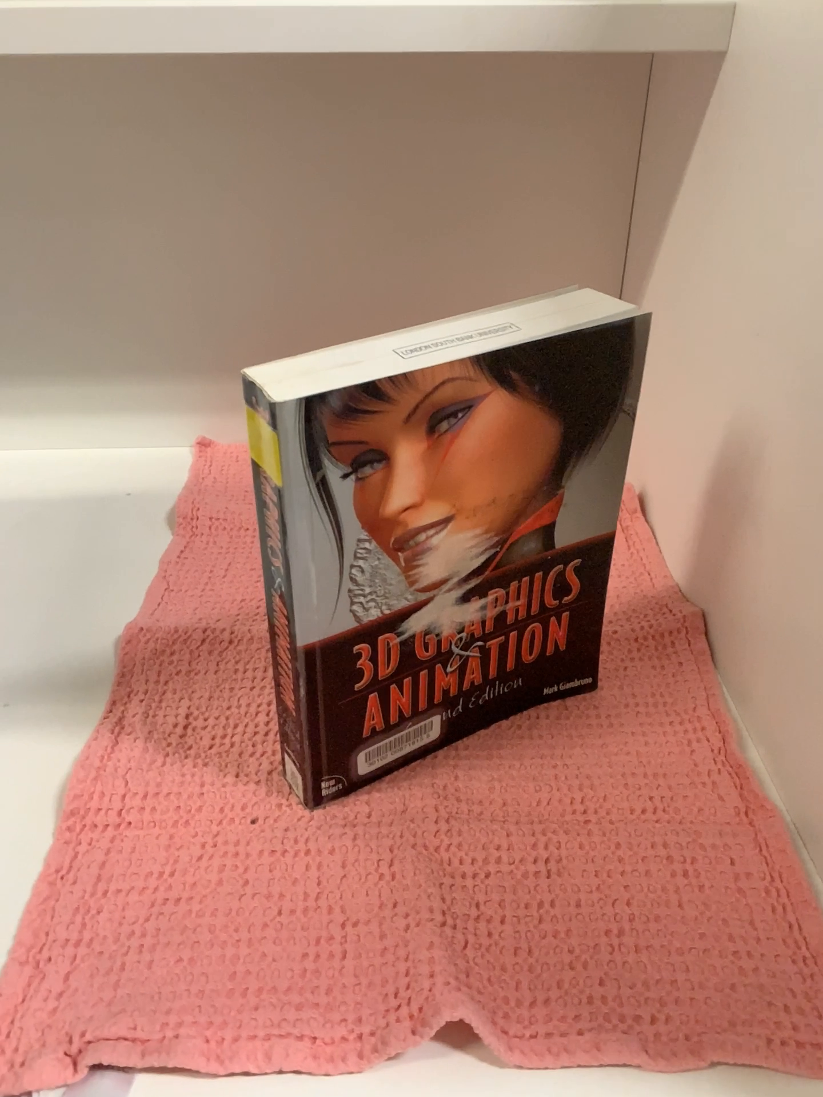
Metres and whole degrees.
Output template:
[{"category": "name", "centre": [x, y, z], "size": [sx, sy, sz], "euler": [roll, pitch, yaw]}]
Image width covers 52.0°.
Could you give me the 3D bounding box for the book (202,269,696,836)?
[{"category": "book", "centre": [0.023, -0.001, 0.426], "size": [0.221, 0.228, 0.060], "euler": [-21, 40, -29]}]
